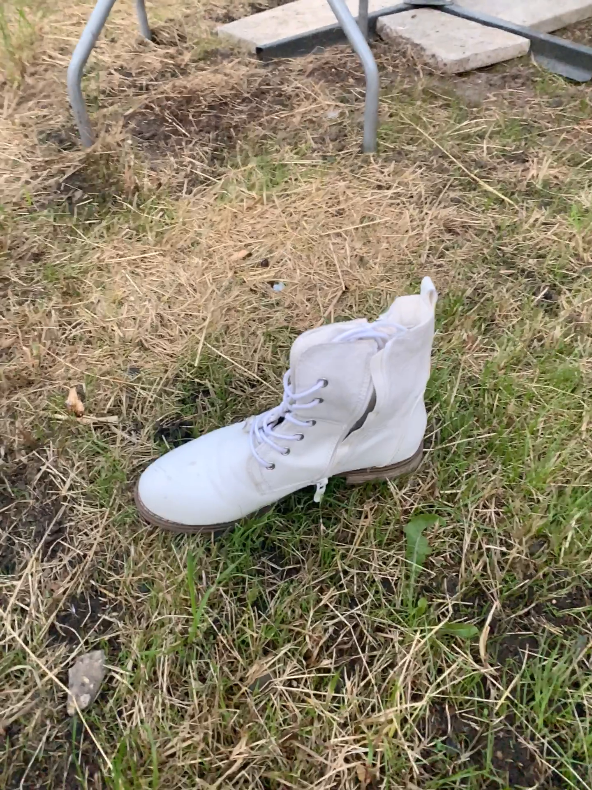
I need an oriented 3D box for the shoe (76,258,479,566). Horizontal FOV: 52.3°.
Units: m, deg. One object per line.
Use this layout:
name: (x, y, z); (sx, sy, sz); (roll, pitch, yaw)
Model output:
shoe: (-0.015, 0.016, 0.477); (0.260, 0.178, 0.101); (-12, 47, -9)
